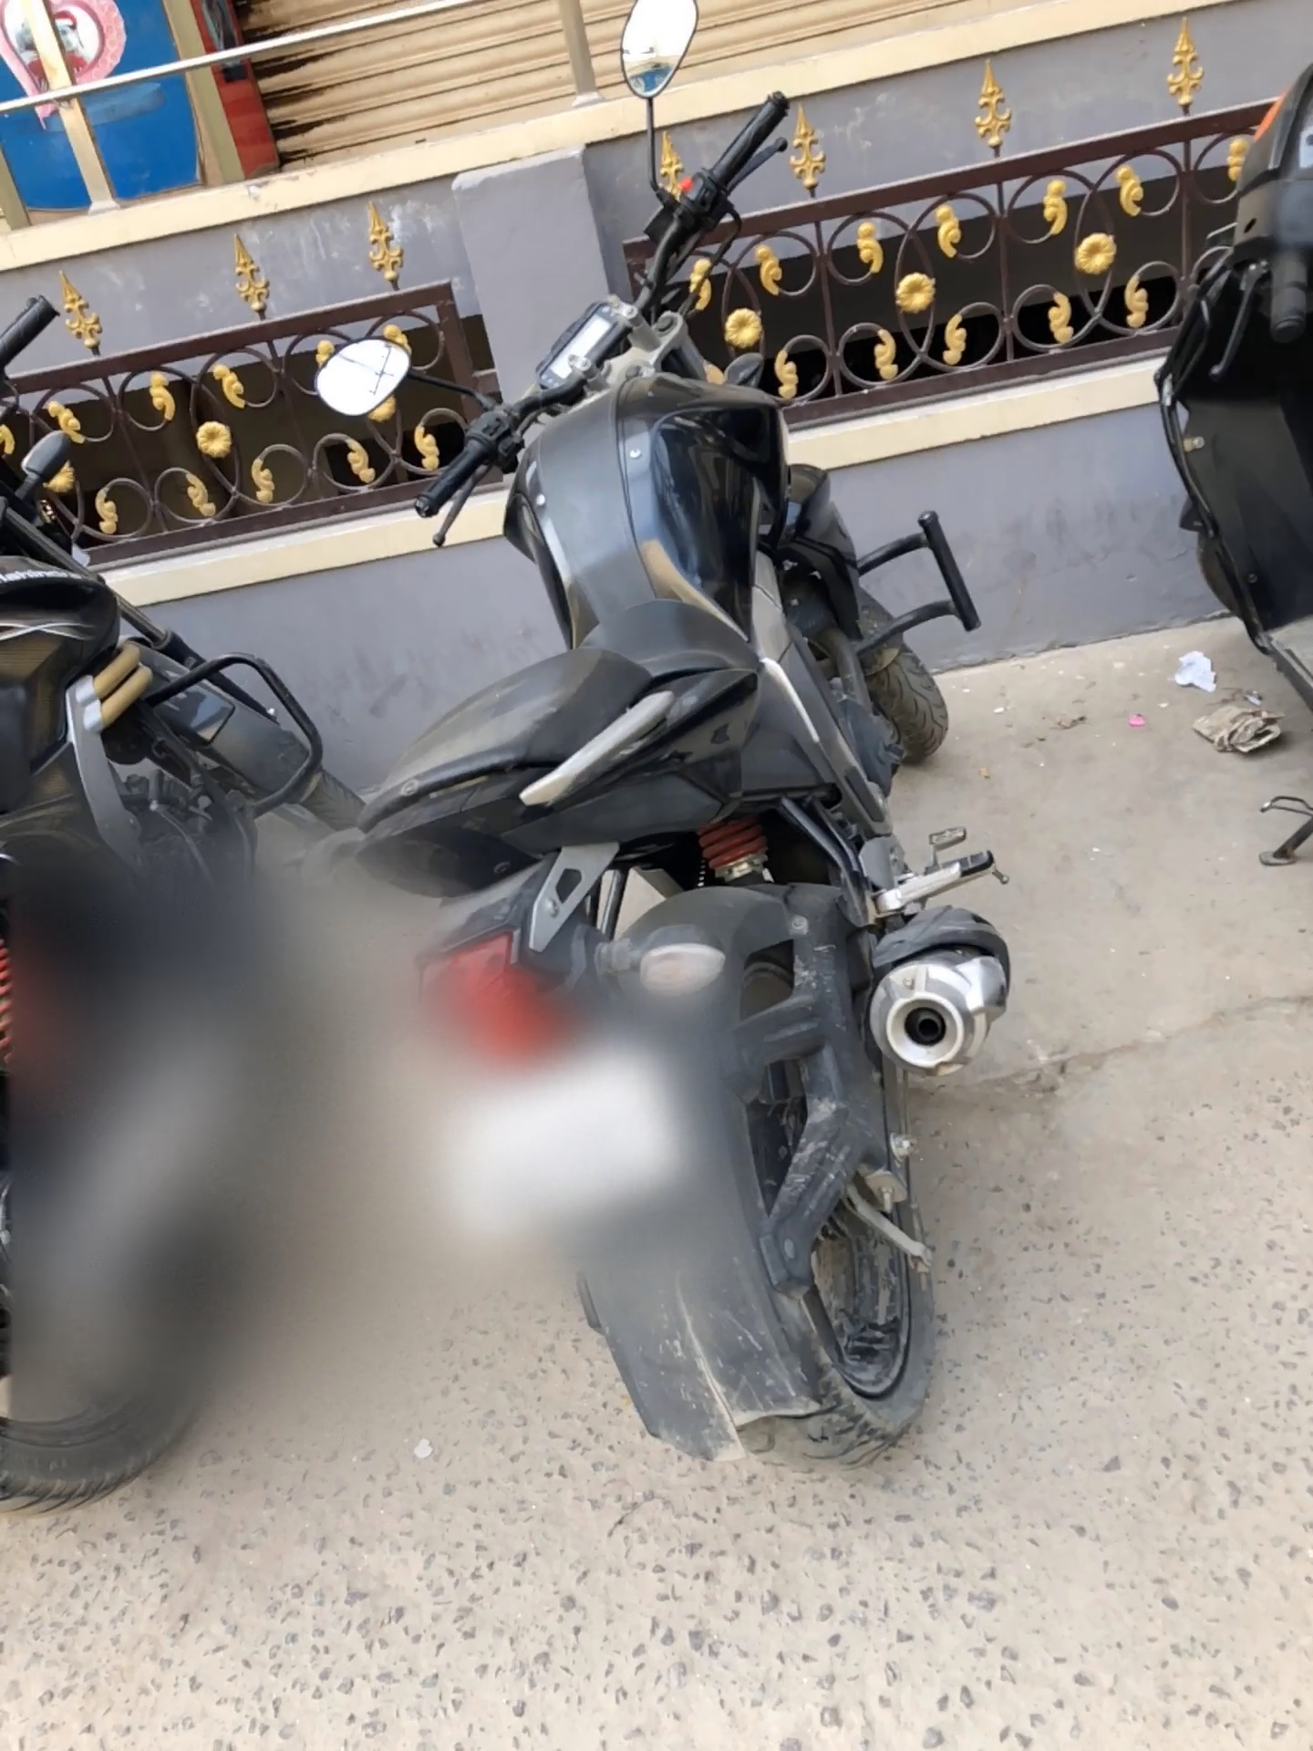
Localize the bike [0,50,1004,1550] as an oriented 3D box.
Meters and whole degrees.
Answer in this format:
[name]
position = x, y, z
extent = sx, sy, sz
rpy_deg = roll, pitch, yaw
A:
[bike]
position = -0.105, -0.294, 1.913
extent = 0.693, 1.197, 1.767
rpy_deg = -9, 32, 8
